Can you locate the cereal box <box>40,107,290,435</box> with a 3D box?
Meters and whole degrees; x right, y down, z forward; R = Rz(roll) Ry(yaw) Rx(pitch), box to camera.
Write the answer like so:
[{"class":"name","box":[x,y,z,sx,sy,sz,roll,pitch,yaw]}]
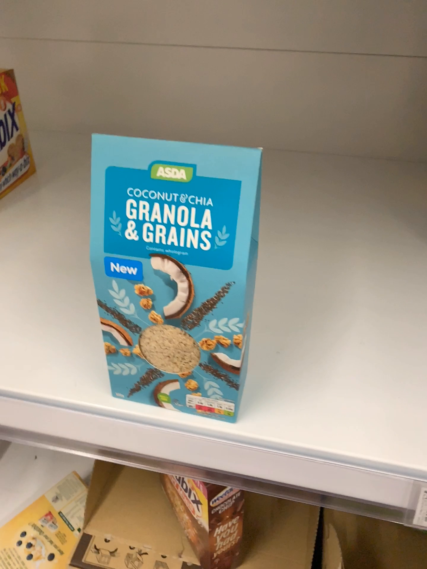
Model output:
[{"class":"cereal box","box":[-0.028,0.000,0.345,0.140,0.238,0.071,10,37,12]}]
